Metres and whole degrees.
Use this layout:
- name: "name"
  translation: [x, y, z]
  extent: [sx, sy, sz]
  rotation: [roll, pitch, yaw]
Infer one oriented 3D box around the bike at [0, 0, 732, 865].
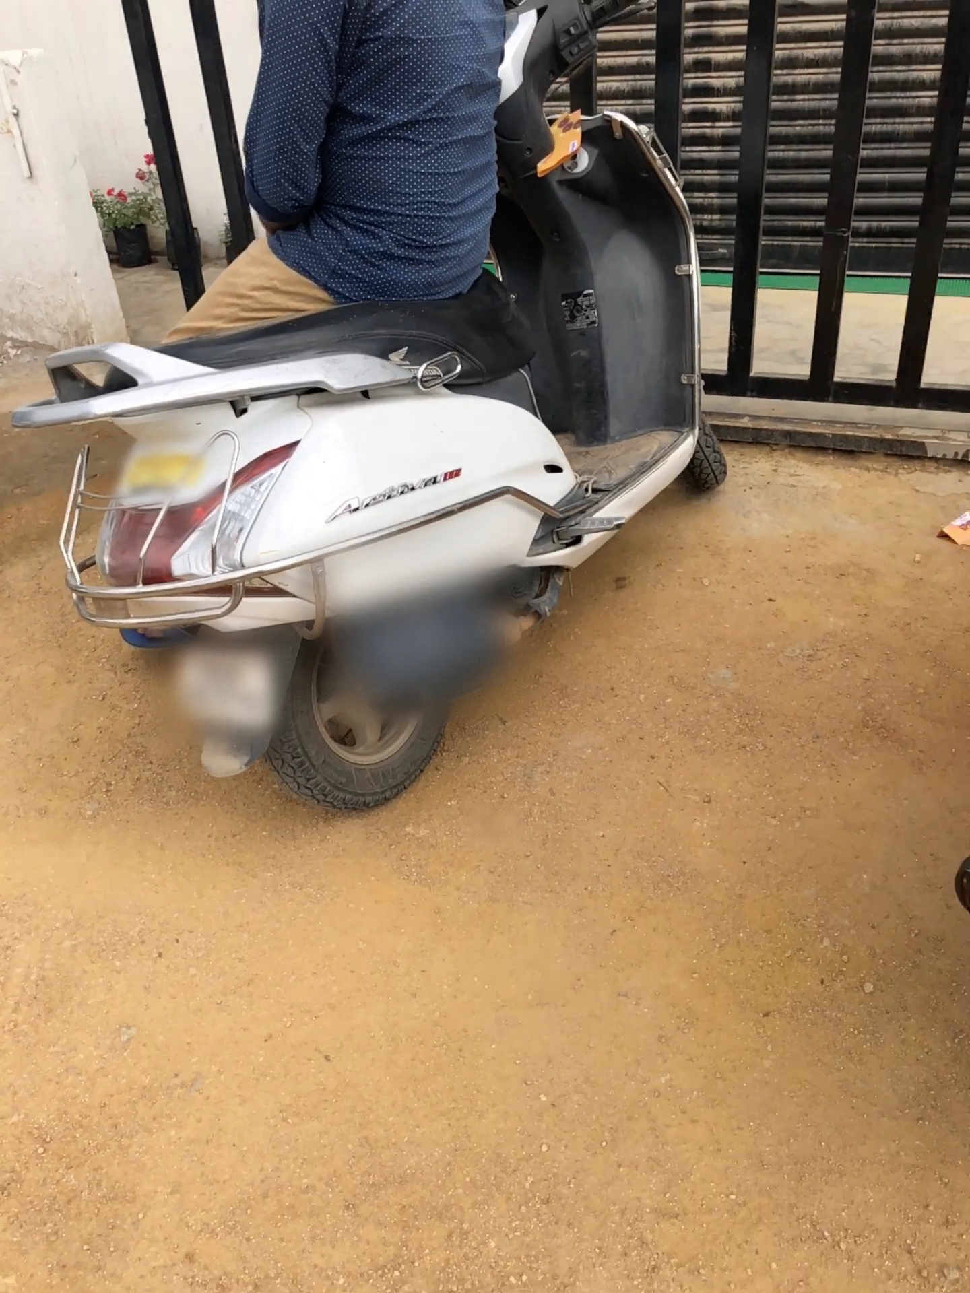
- name: "bike"
  translation: [-0.084, -0.635, 2.099]
  extent: [0.650, 1.069, 1.655]
  rotation: [12, 37, 24]
